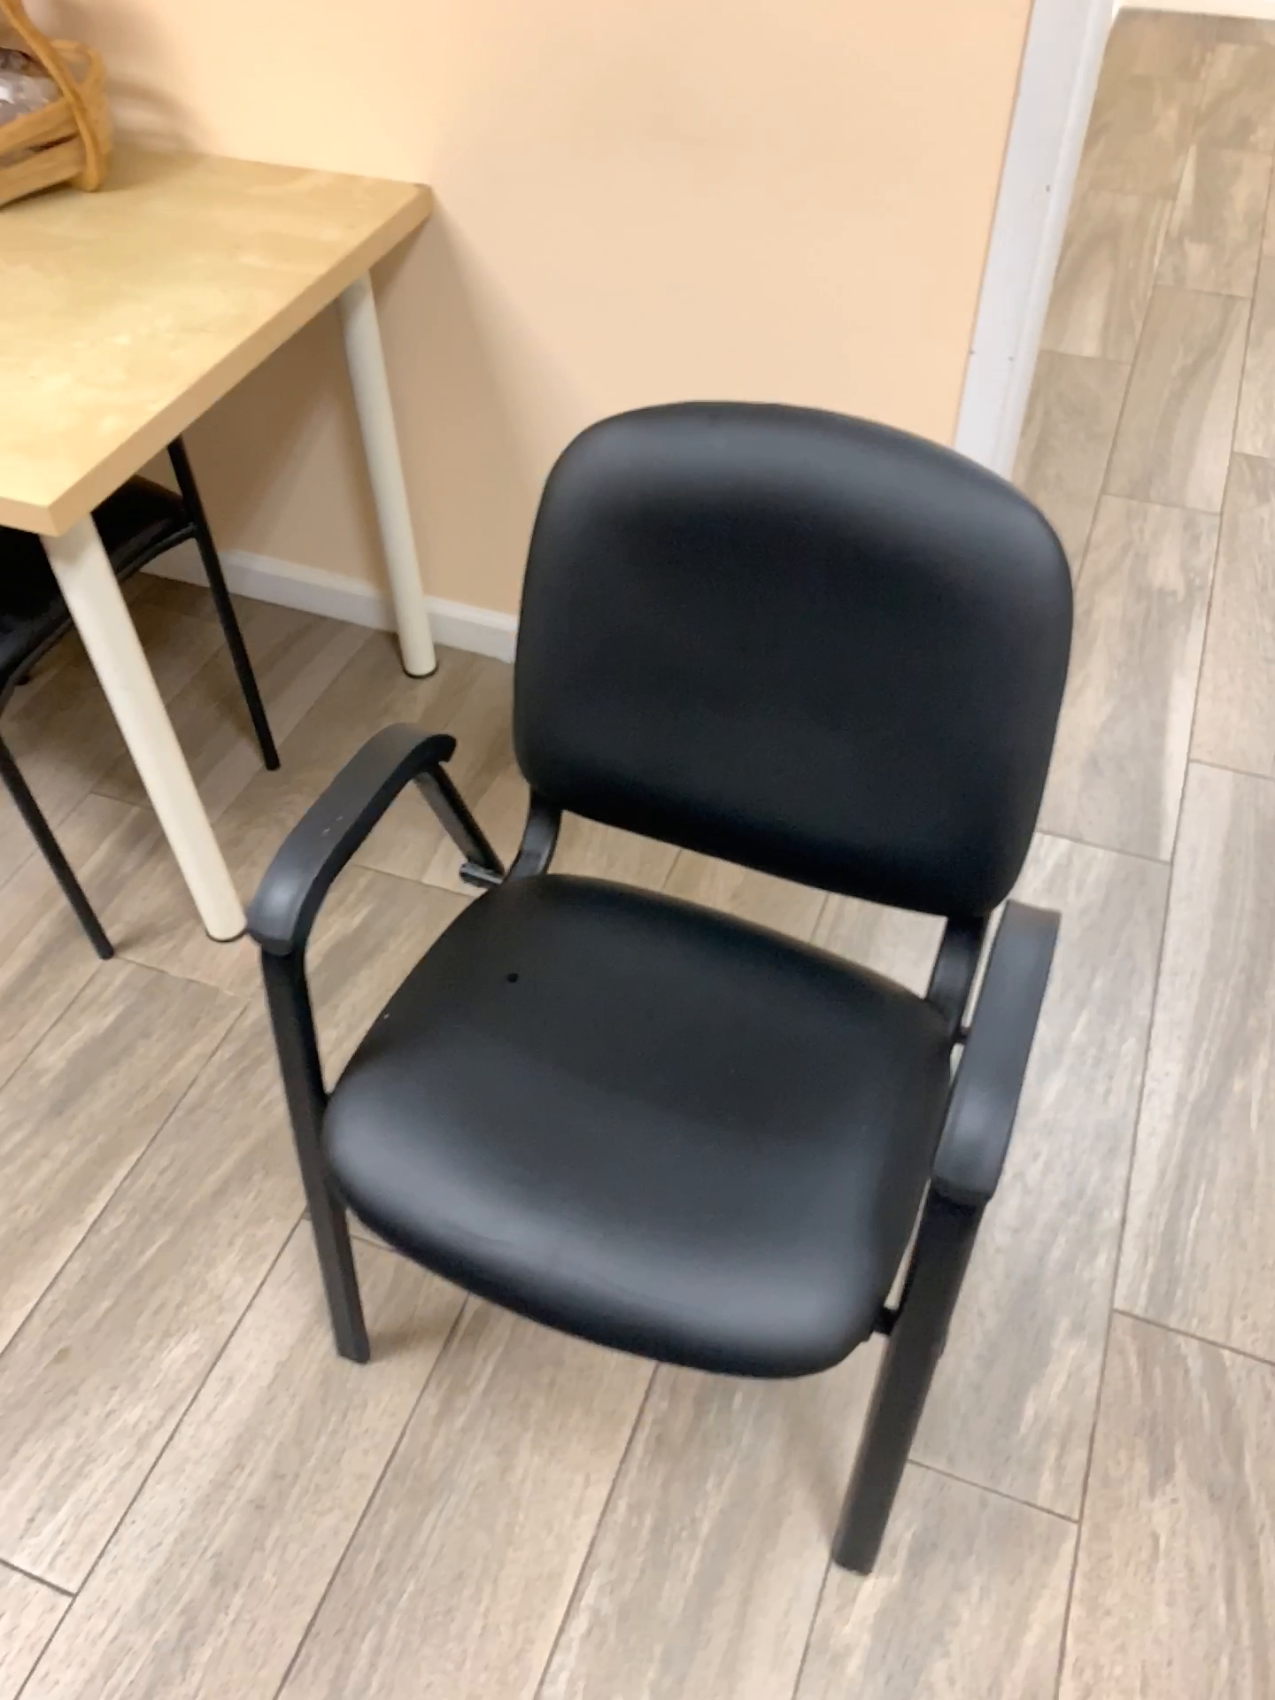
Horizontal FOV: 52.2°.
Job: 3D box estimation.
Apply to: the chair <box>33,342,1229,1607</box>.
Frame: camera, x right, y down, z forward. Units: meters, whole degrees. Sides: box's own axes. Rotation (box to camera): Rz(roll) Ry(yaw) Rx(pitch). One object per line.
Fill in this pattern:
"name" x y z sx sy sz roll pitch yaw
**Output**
"chair" 0.056 0.120 1.158 0.606 0.796 0.626 16 50 15
